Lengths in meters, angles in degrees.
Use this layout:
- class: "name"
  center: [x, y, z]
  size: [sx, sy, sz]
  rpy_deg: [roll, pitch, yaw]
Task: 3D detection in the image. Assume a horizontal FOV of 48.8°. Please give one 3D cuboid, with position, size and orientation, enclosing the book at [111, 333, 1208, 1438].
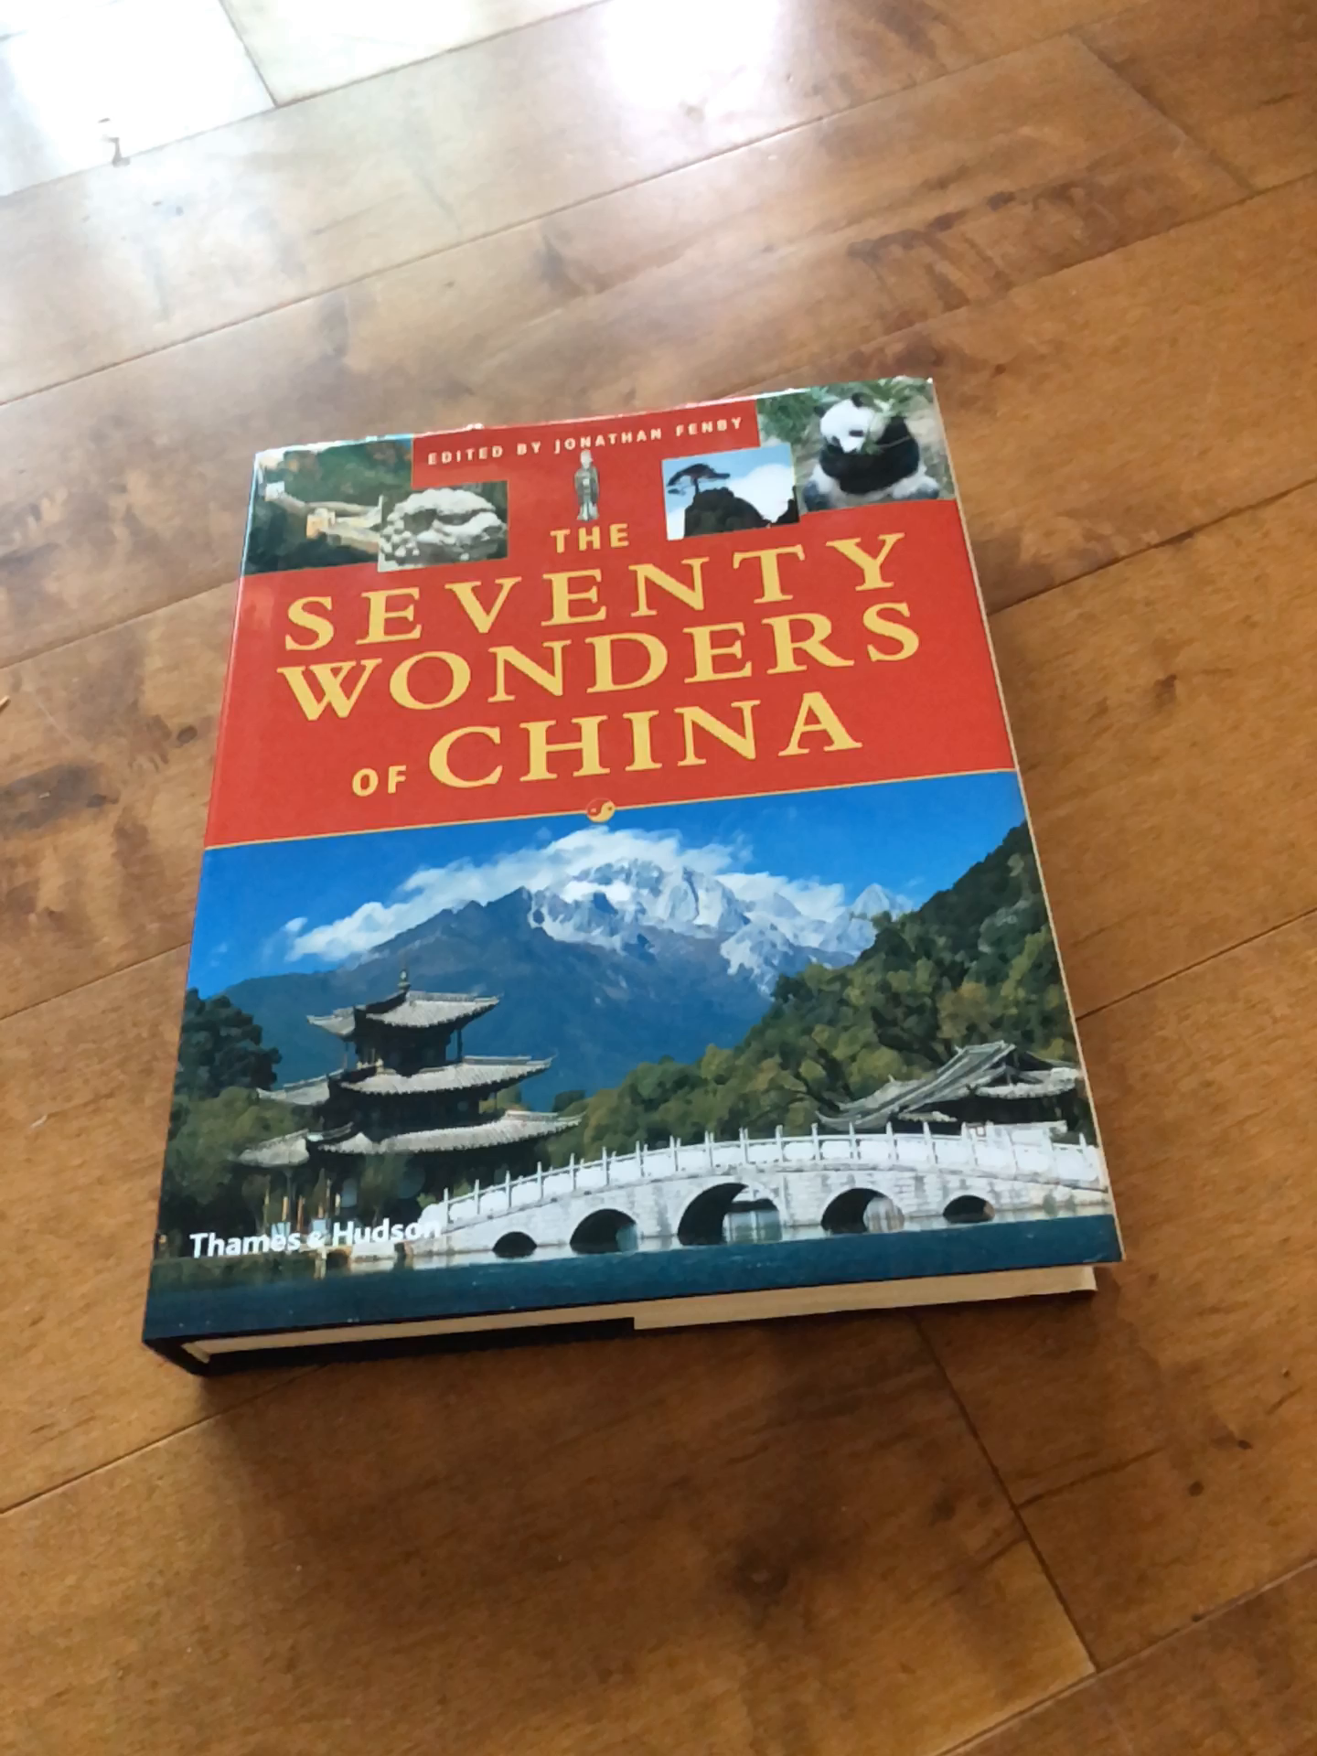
- class: "book"
  center: [-0.008, -0.017, 0.387]
  size: [0.220, 0.050, 0.291]
  rpy_deg: [-6, 58, 3]
